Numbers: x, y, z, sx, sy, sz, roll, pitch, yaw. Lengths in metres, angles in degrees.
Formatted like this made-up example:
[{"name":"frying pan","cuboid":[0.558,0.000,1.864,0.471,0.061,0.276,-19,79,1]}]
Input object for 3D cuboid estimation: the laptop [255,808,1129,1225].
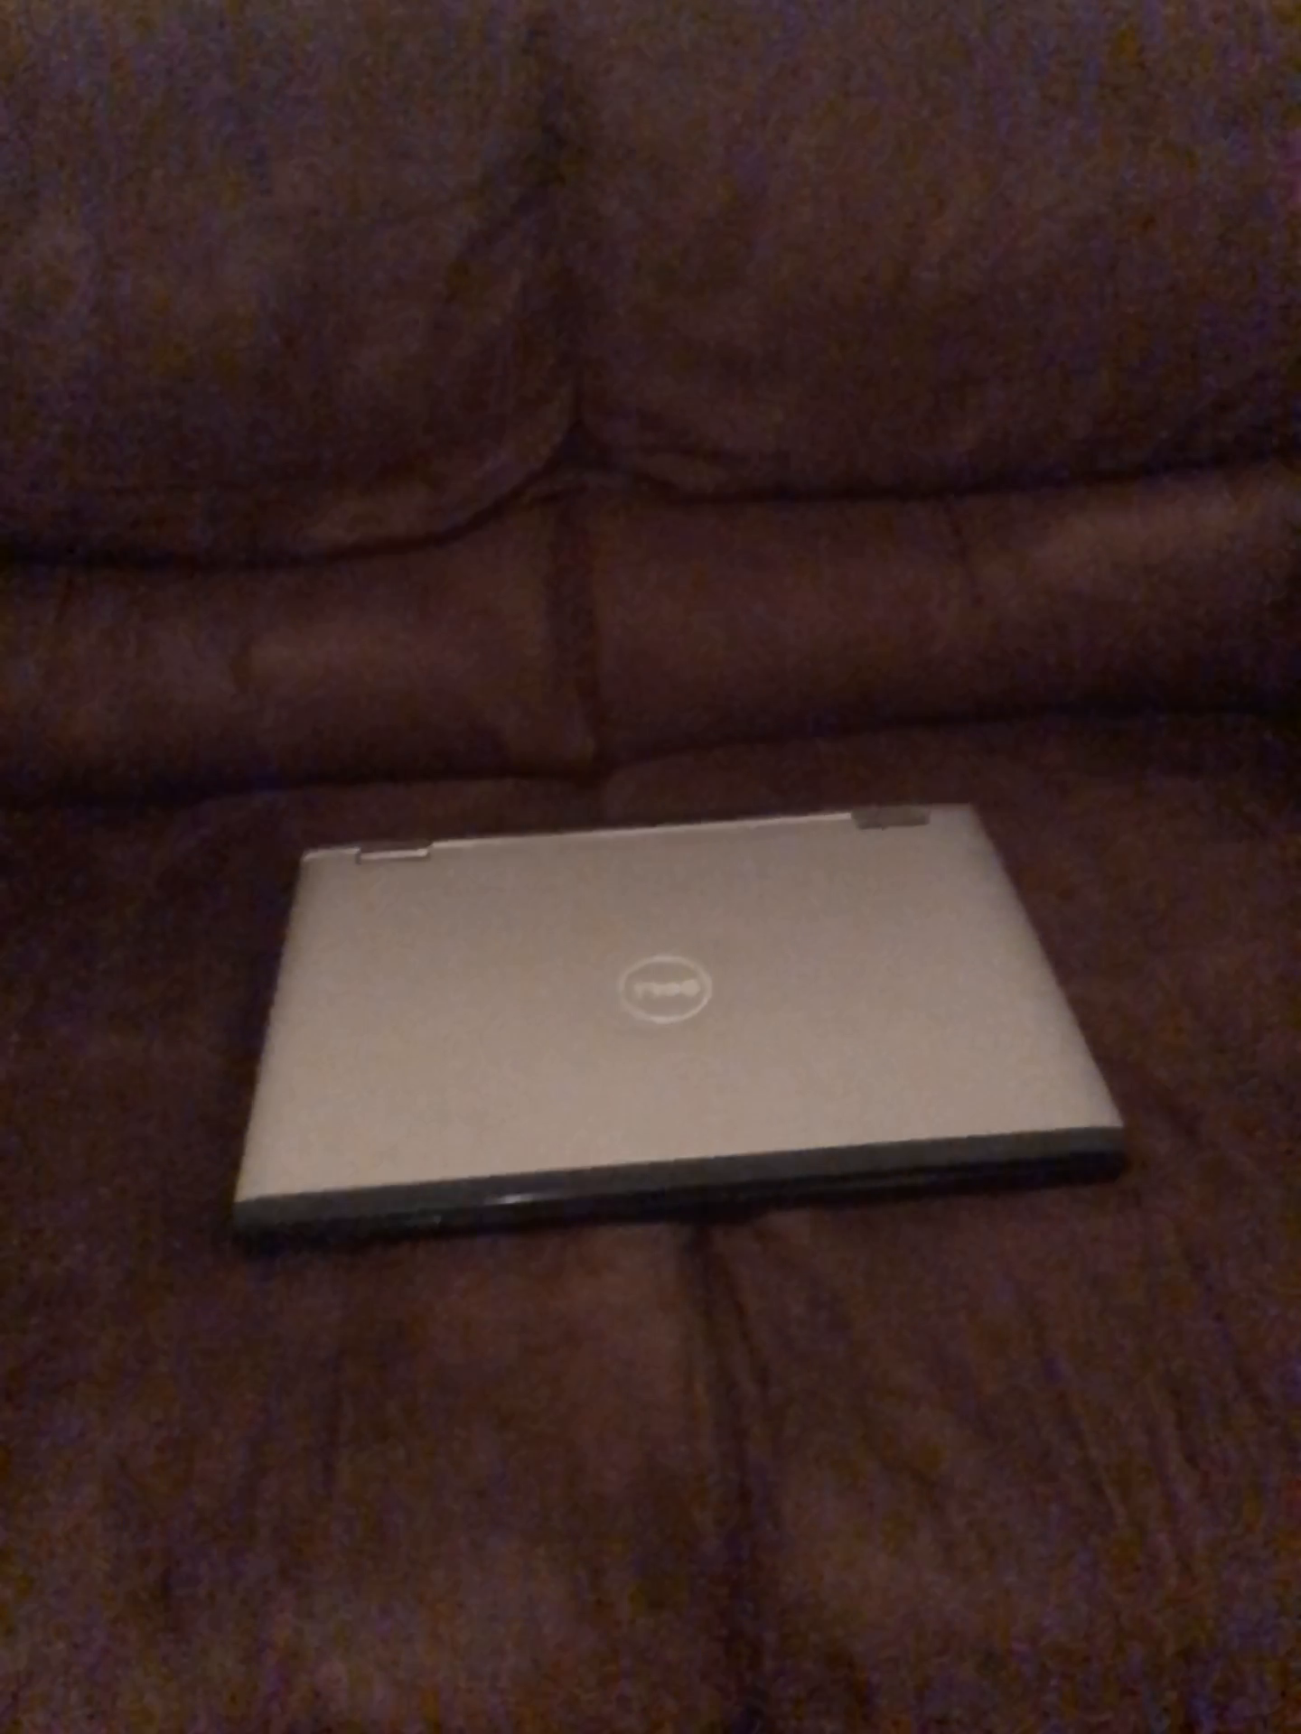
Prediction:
[{"name":"laptop","cuboid":[0.008,0.056,0.699,0.369,0.002,0.261,-4,36,-4]}]
